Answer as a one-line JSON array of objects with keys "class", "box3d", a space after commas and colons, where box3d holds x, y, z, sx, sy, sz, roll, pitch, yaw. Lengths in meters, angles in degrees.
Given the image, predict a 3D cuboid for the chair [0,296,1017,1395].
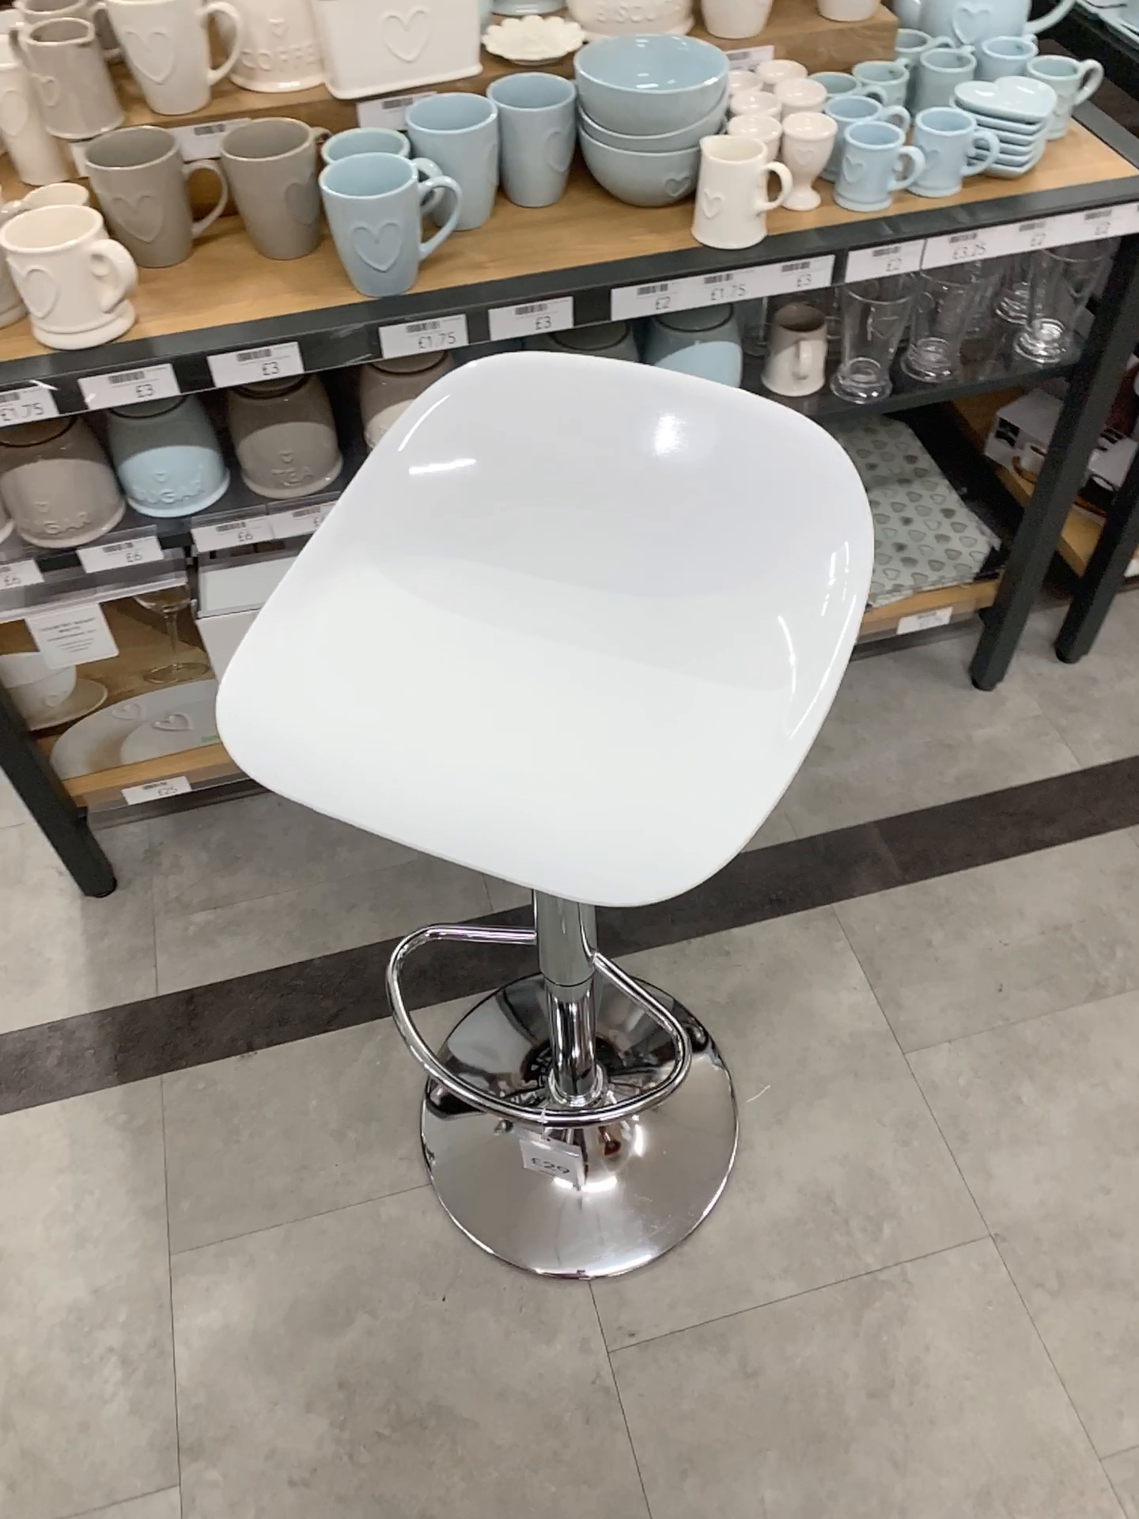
[{"class": "chair", "box3d": [-0.005, 0.141, 0.986, 0.455, 0.826, 0.423, 19, 55, 16]}]
